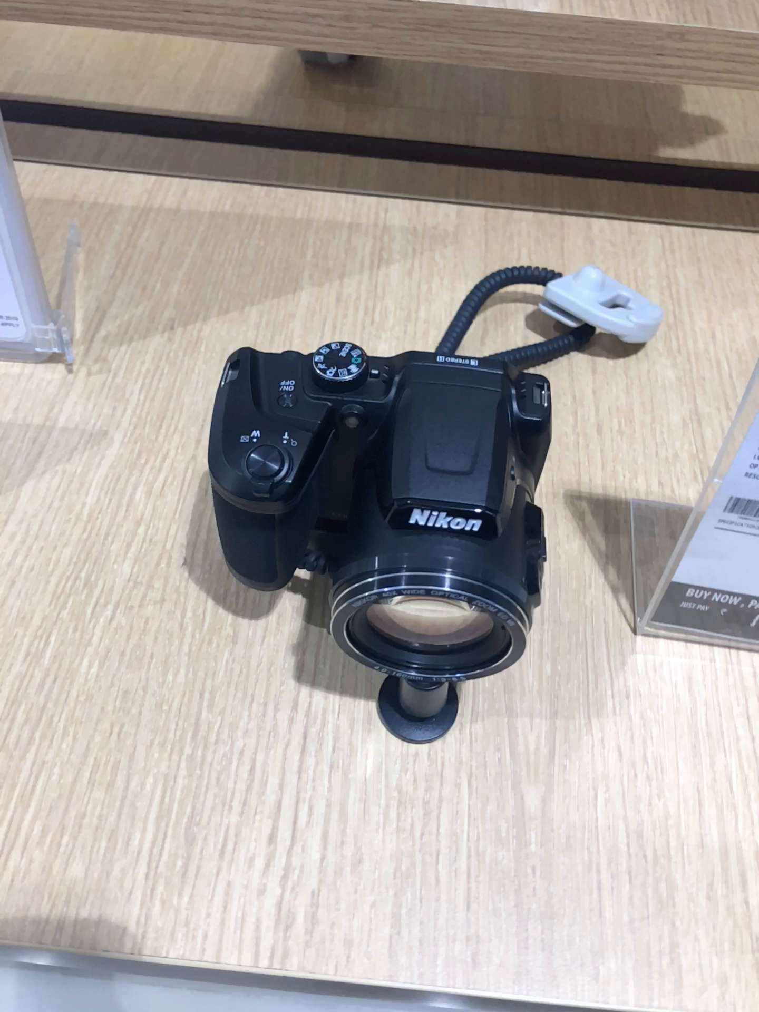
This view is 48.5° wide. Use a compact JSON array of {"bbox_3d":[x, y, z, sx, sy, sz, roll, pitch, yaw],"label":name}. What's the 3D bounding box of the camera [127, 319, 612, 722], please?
[{"bbox_3d":[0.000,0.005,0.262,0.120,0.070,0.090,6,54,1],"label":"camera"}]
